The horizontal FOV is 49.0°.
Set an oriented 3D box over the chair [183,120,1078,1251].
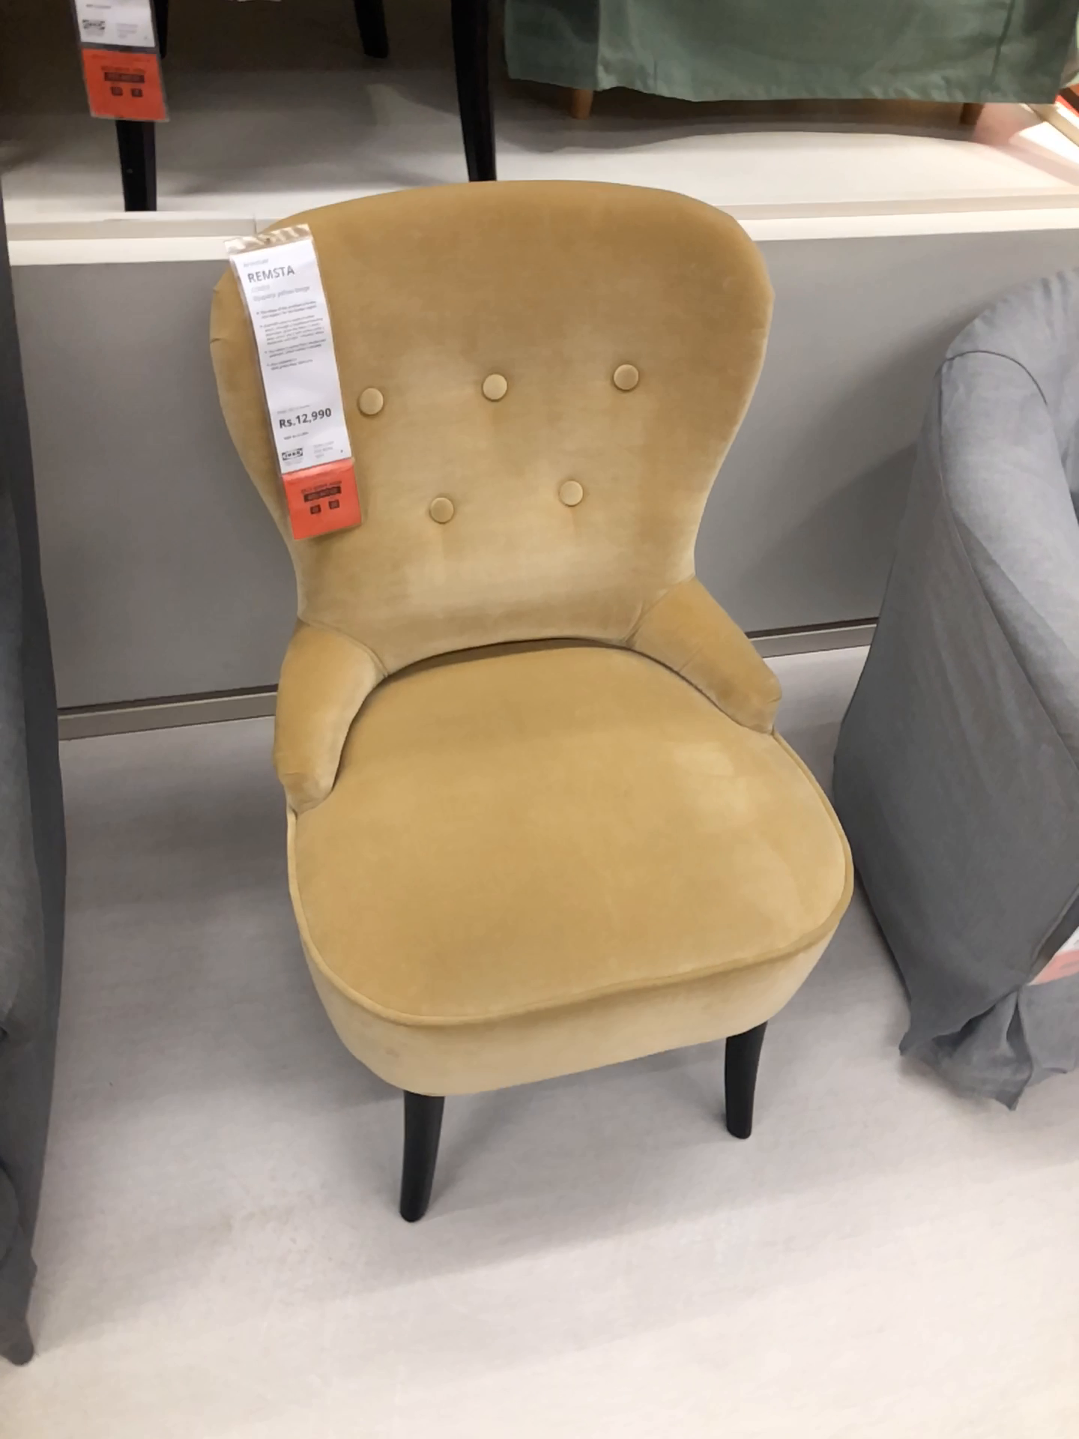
[{"bbox_3d":[0.026,-0.012,1.188,0.580,0.864,0.644,-8,49,-13],"label":"chair"}]
